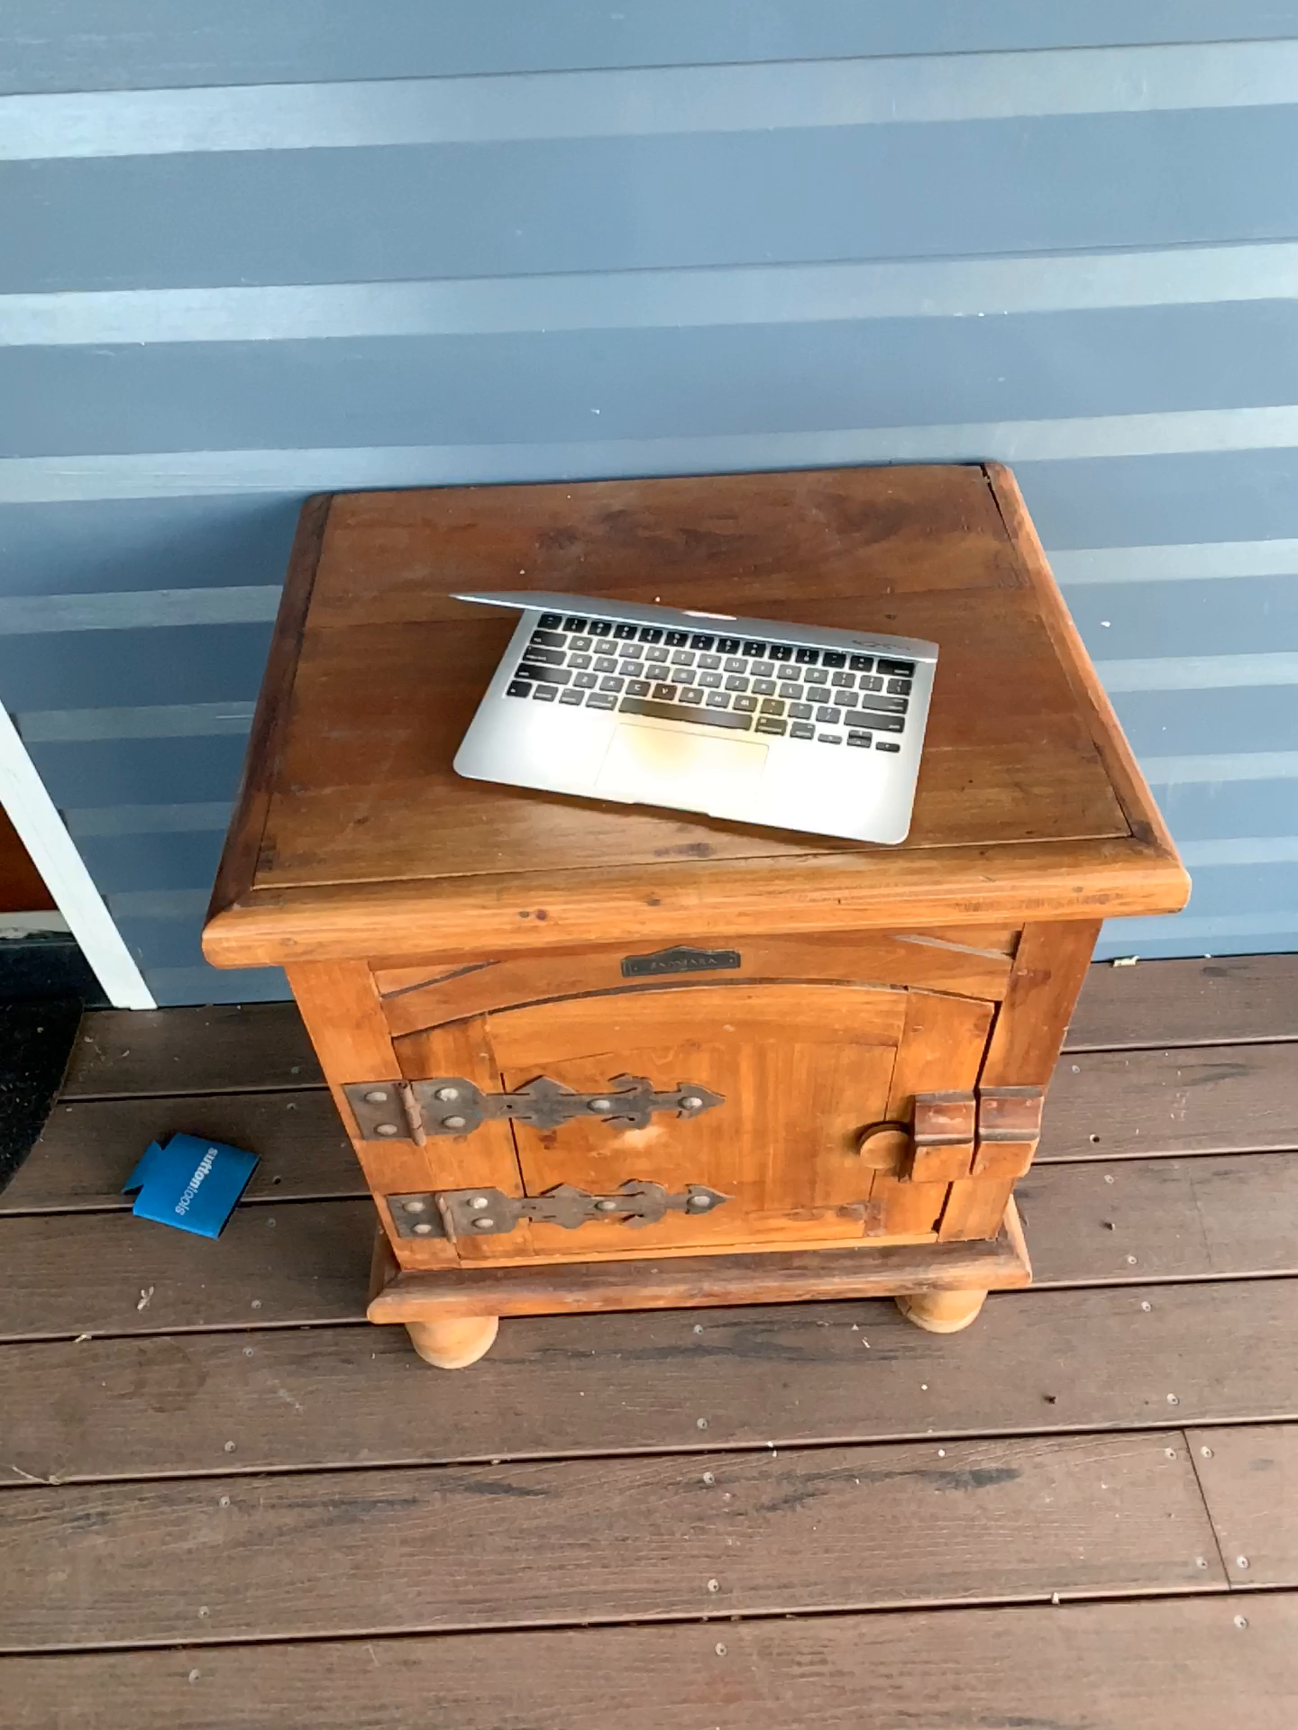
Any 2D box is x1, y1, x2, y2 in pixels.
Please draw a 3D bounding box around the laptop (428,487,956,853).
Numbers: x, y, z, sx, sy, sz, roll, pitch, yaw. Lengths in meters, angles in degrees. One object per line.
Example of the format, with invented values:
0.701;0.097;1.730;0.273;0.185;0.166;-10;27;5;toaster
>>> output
0.033;-0.129;0.829;0.282;0.099;0.180;9;50;11;laptop
